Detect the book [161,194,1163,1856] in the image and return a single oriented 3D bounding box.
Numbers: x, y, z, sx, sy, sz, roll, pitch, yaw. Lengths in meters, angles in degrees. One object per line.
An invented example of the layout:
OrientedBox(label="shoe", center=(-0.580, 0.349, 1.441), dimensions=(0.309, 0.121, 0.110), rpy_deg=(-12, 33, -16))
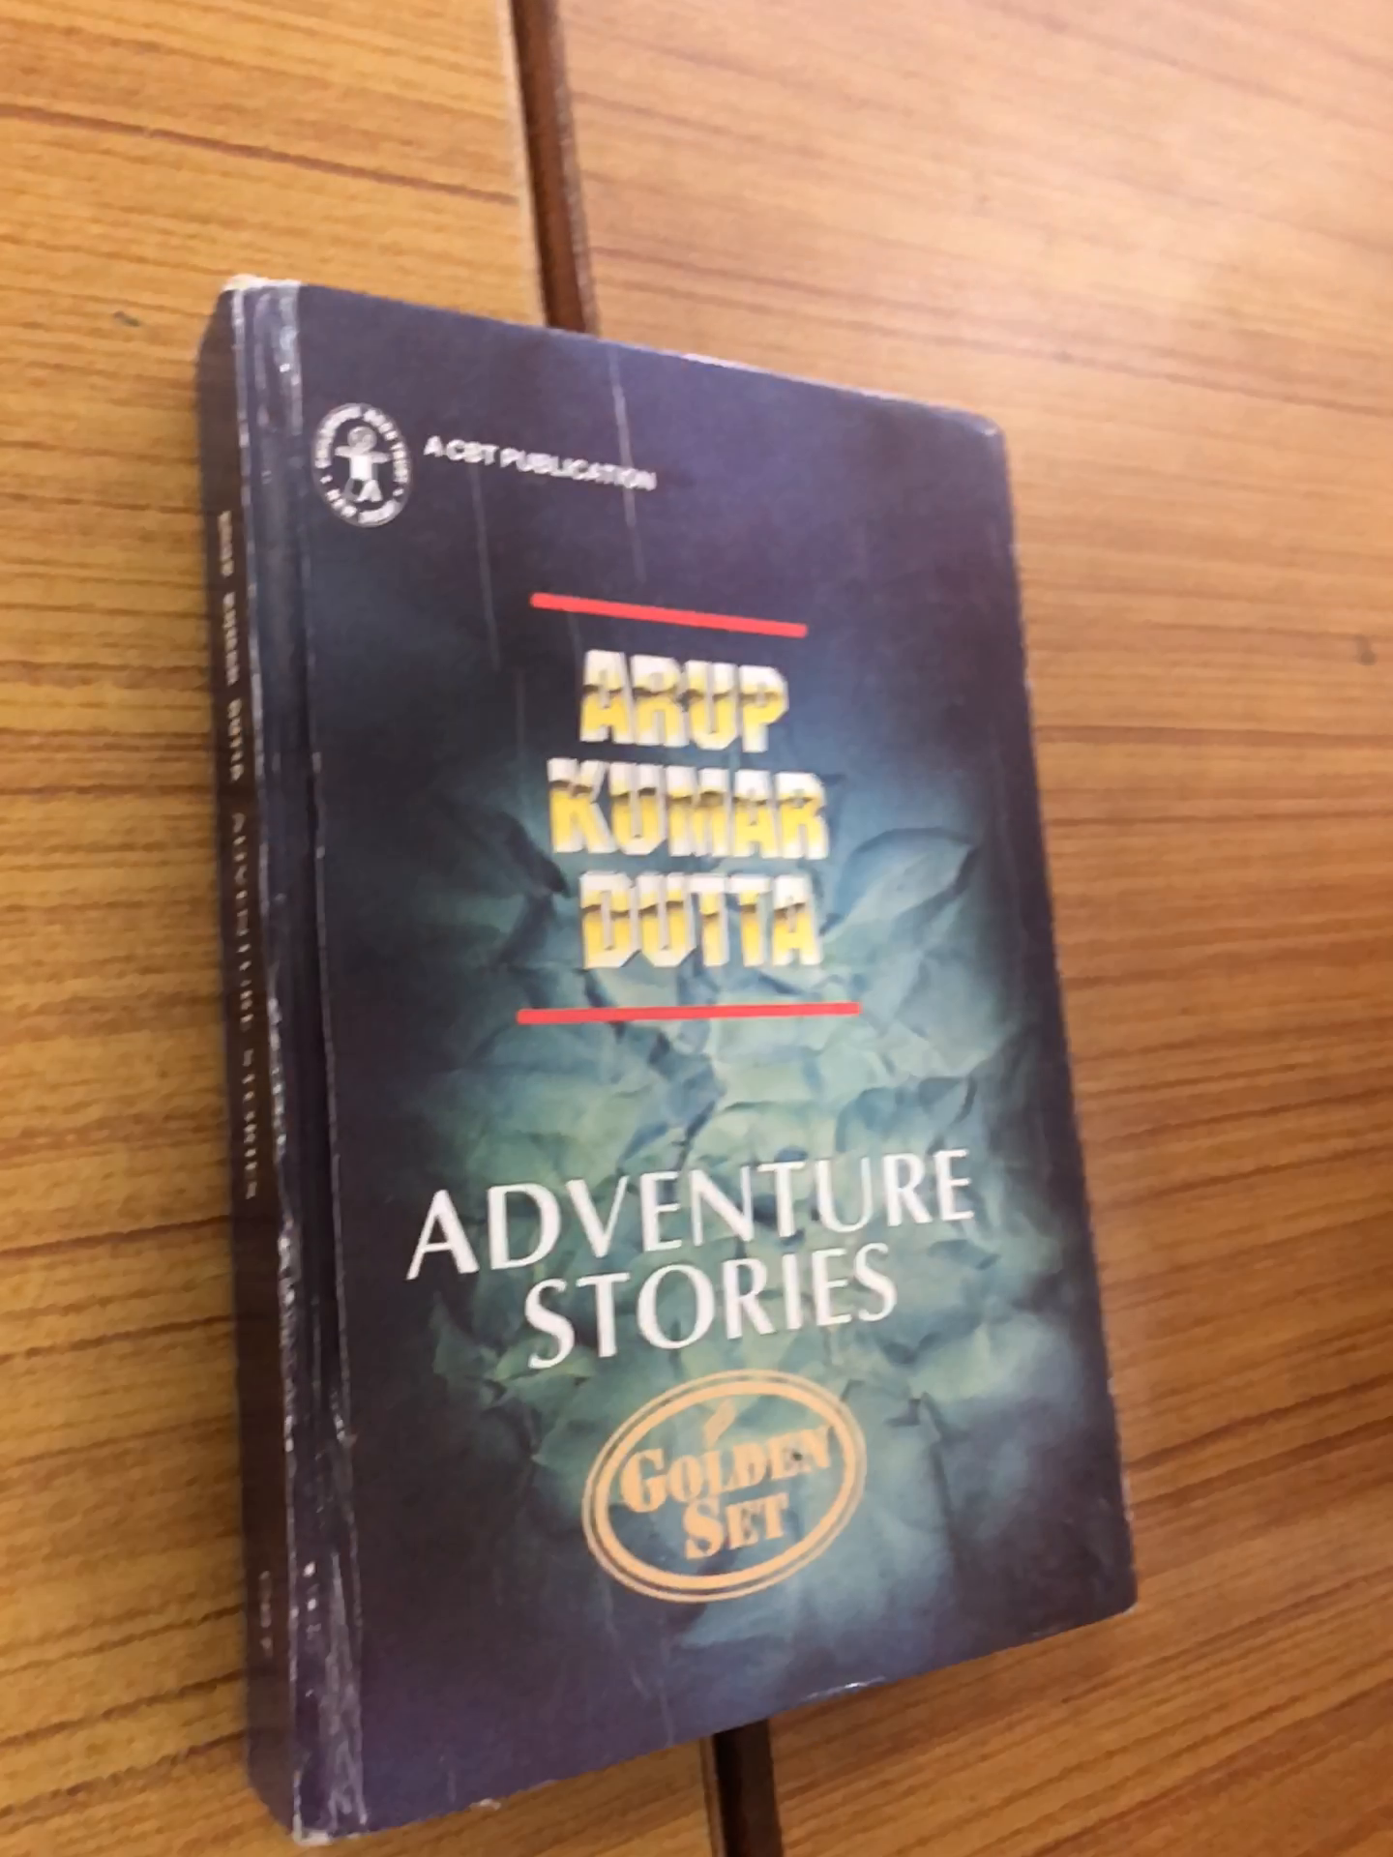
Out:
OrientedBox(label="book", center=(-0.002, 0.013, 0.249), dimensions=(0.145, 0.036, 0.218), rpy_deg=(-1, 83, -31))
